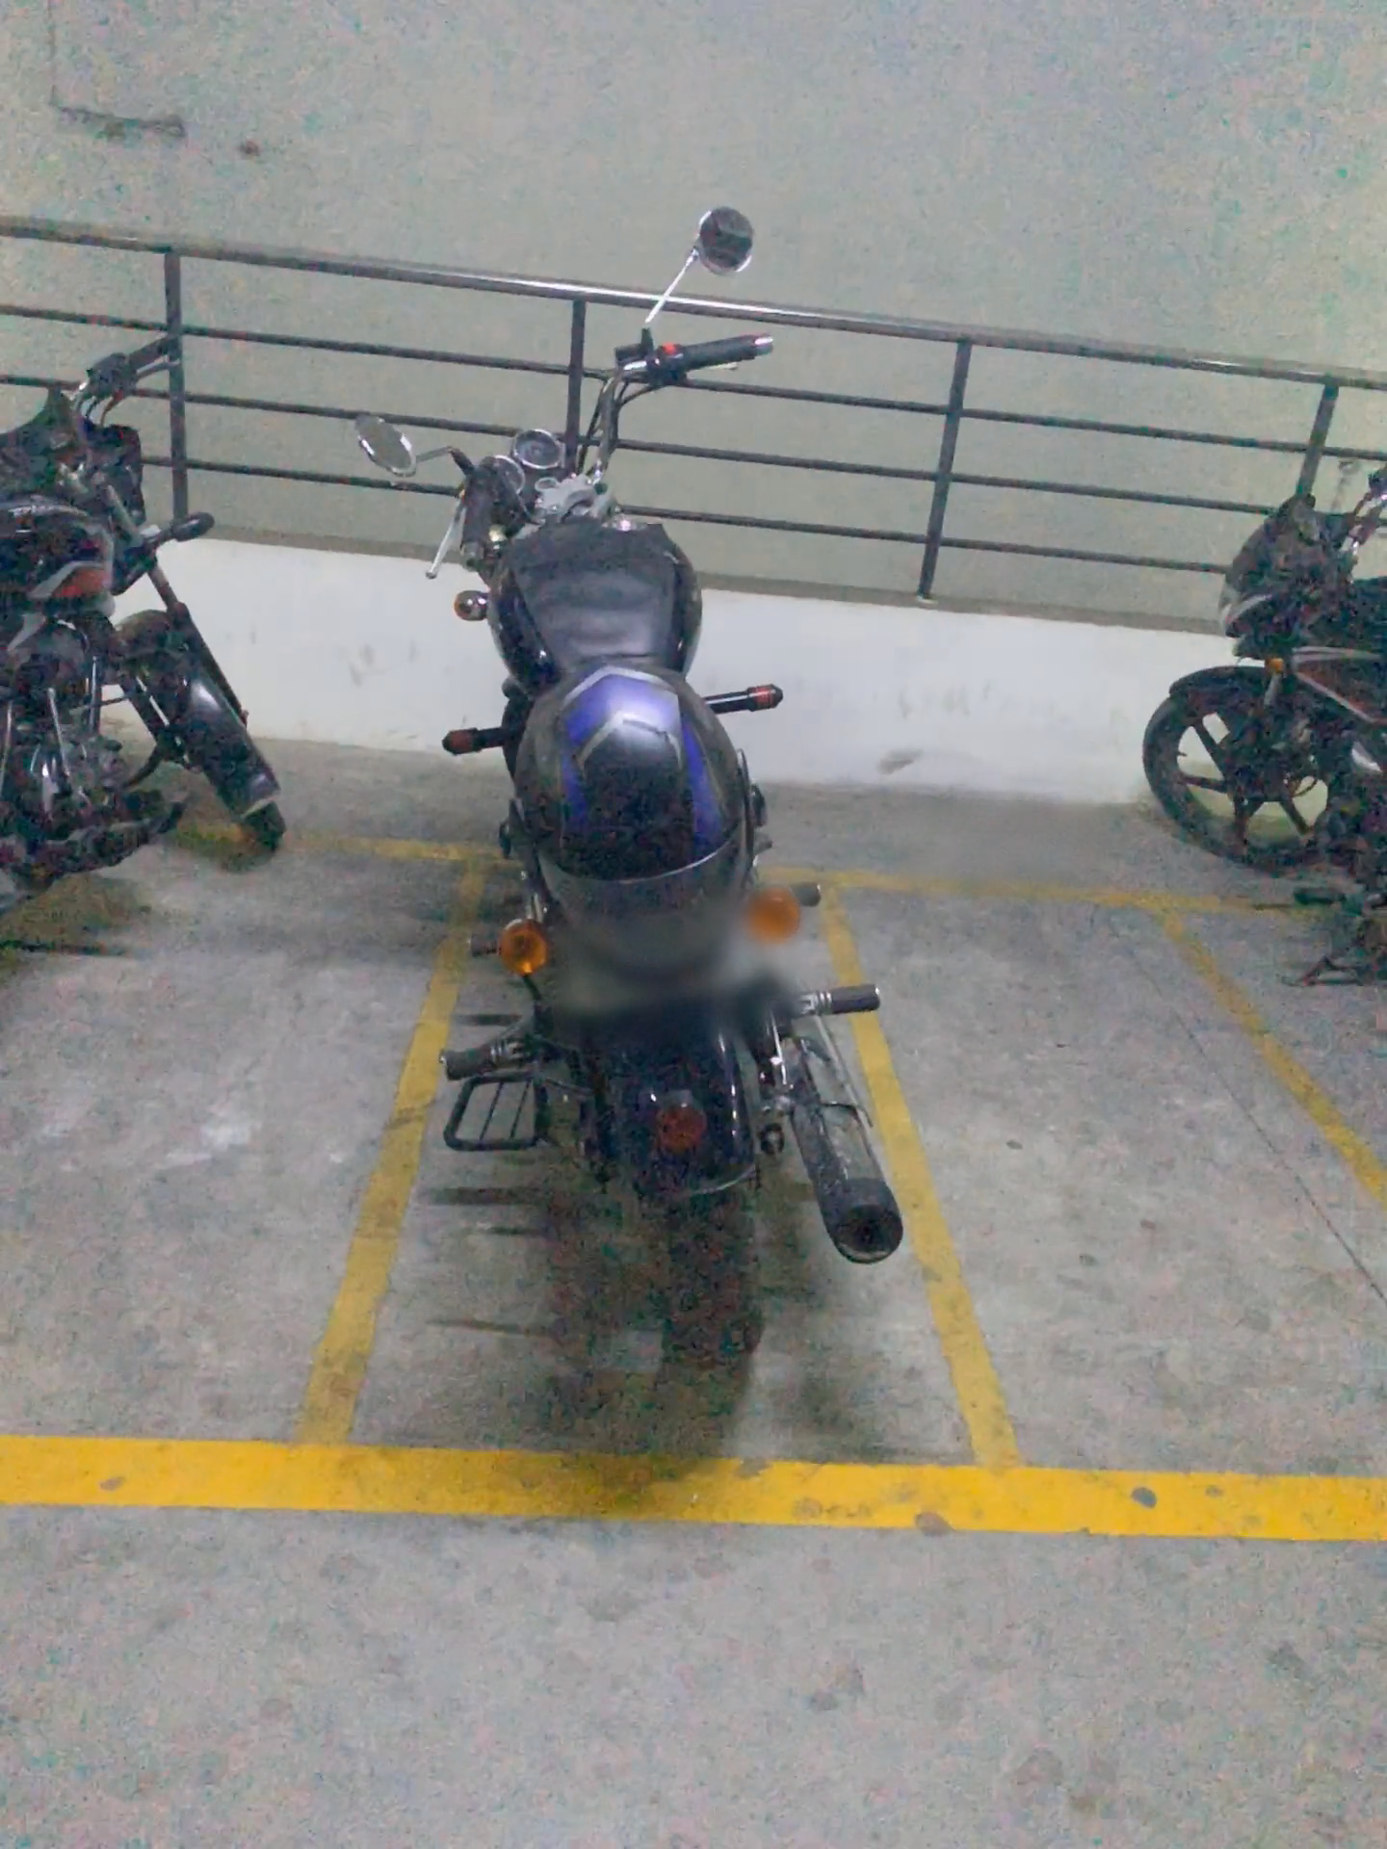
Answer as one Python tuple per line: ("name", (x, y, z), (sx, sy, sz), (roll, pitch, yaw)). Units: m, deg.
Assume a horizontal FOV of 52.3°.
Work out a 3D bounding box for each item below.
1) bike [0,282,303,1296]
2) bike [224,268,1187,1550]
("bike", (-1.286, -0.405, 2.407), (0.593, 1.193, 1.510), (10, 25, 9))
("bike", (-0.248, -0.223, 2.189), (0.842, 1.303, 1.674), (0, 25, -15))
